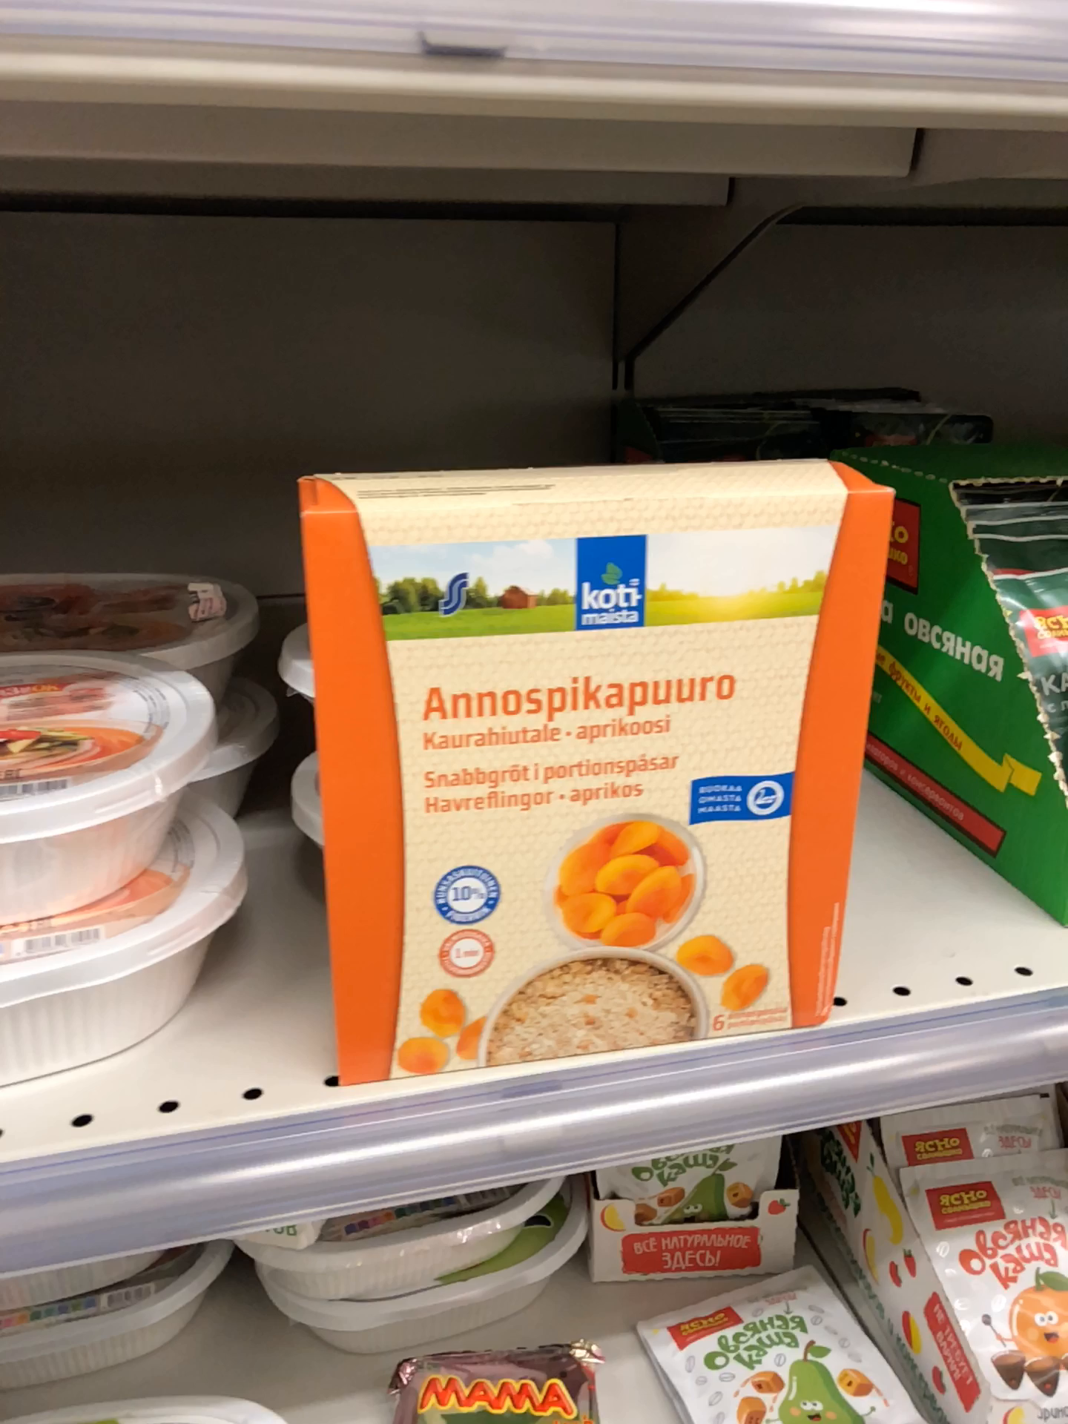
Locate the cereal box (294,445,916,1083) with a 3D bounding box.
[{"bbox_3d":[0.017,0.013,0.372,0.170,0.179,0.060,-4,20,-10],"label":"cereal box"}]
